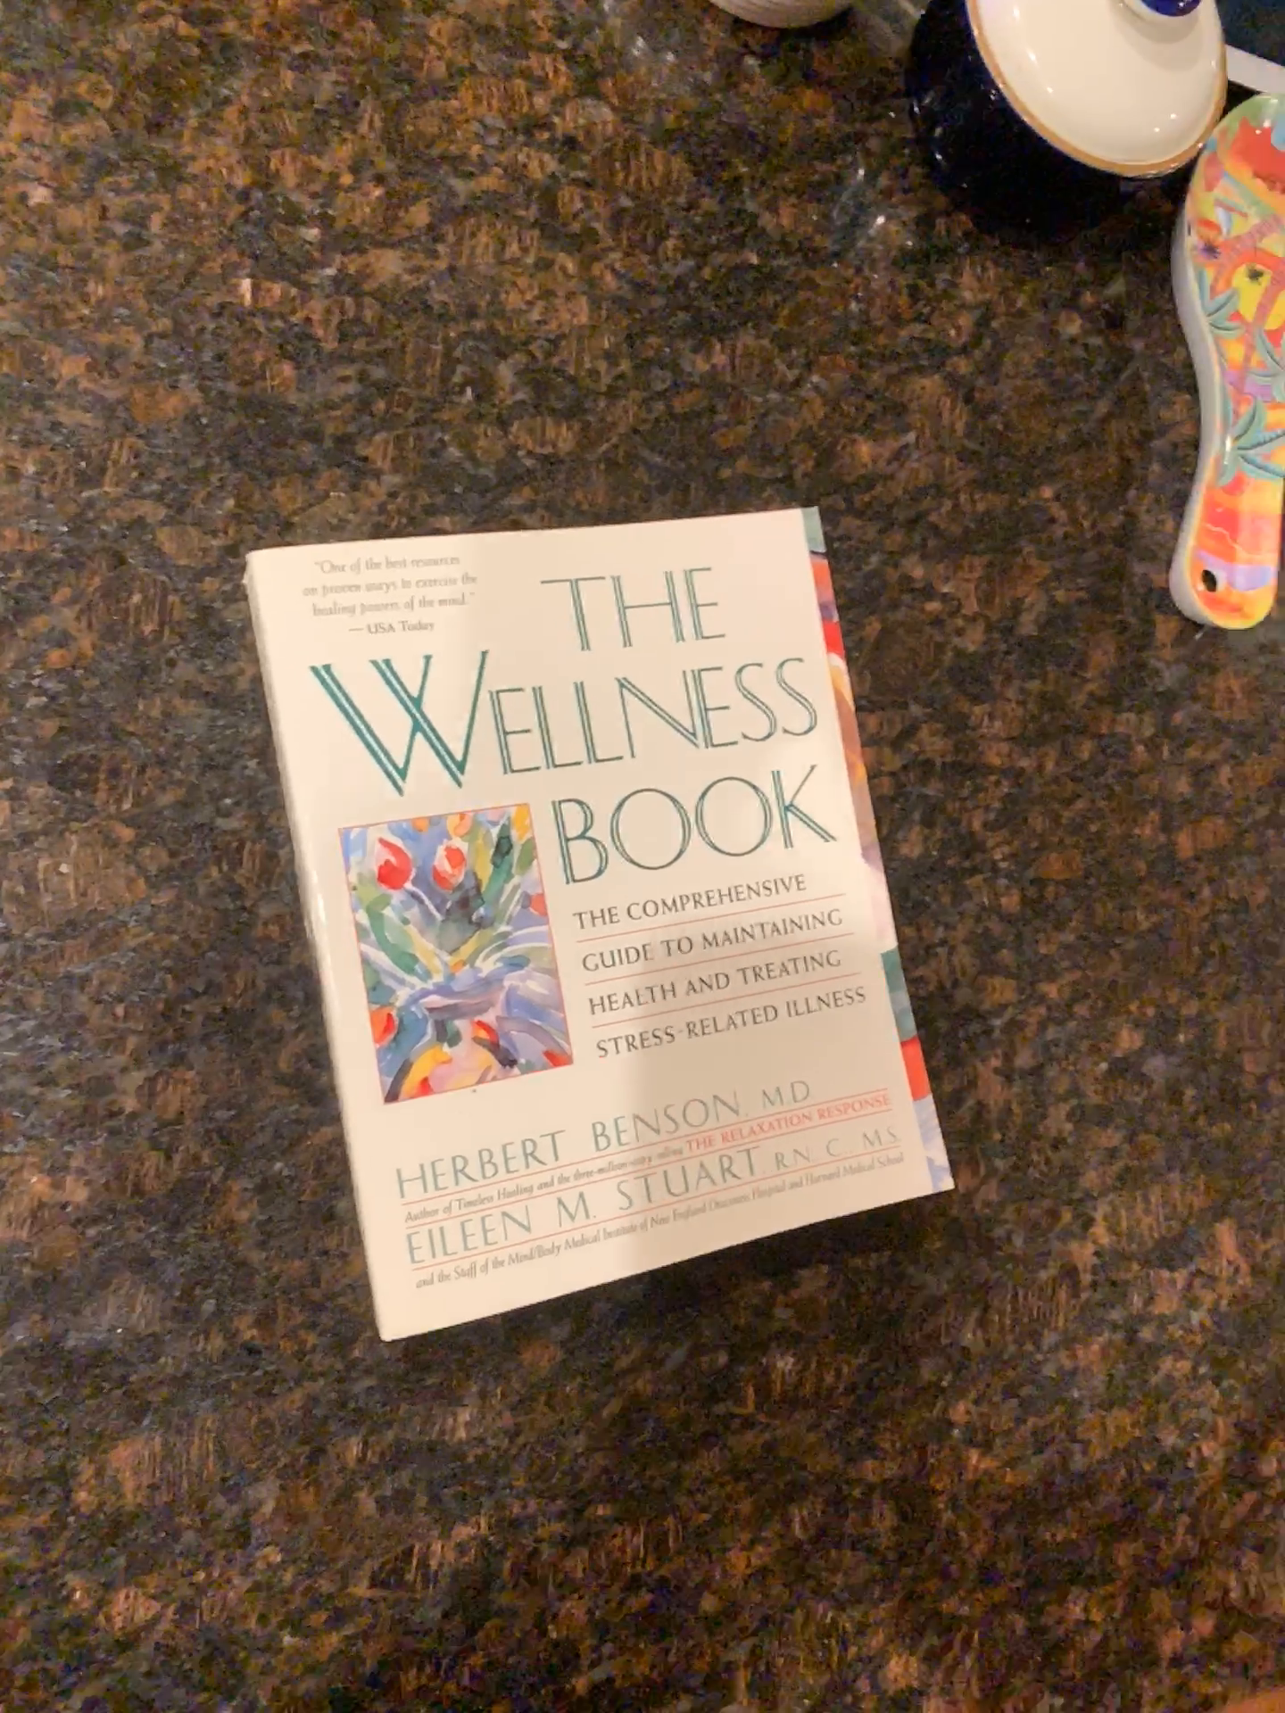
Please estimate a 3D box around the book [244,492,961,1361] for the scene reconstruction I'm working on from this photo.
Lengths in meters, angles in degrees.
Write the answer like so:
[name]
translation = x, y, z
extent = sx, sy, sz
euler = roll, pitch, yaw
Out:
[book]
translation = -0.014, 0.012, 0.436
extent = 0.187, 0.060, 0.240
euler = -9, 87, -20
